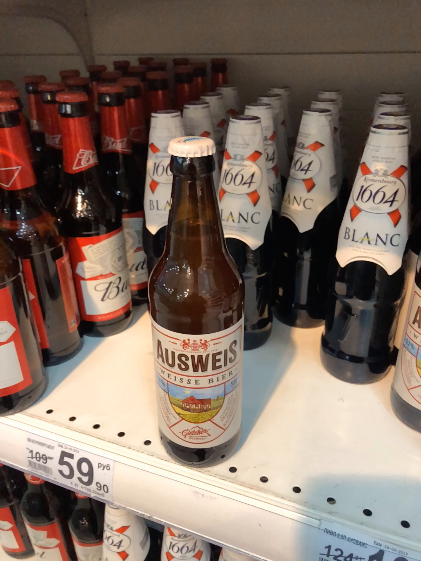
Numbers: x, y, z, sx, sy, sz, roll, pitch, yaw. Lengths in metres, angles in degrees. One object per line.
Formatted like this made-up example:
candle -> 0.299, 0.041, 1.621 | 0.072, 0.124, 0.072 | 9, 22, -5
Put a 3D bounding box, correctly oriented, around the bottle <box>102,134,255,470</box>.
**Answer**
bottle -> -0.015, 0.023, 0.329 | 0.080, 0.229, 0.070 | -3, 28, -2
